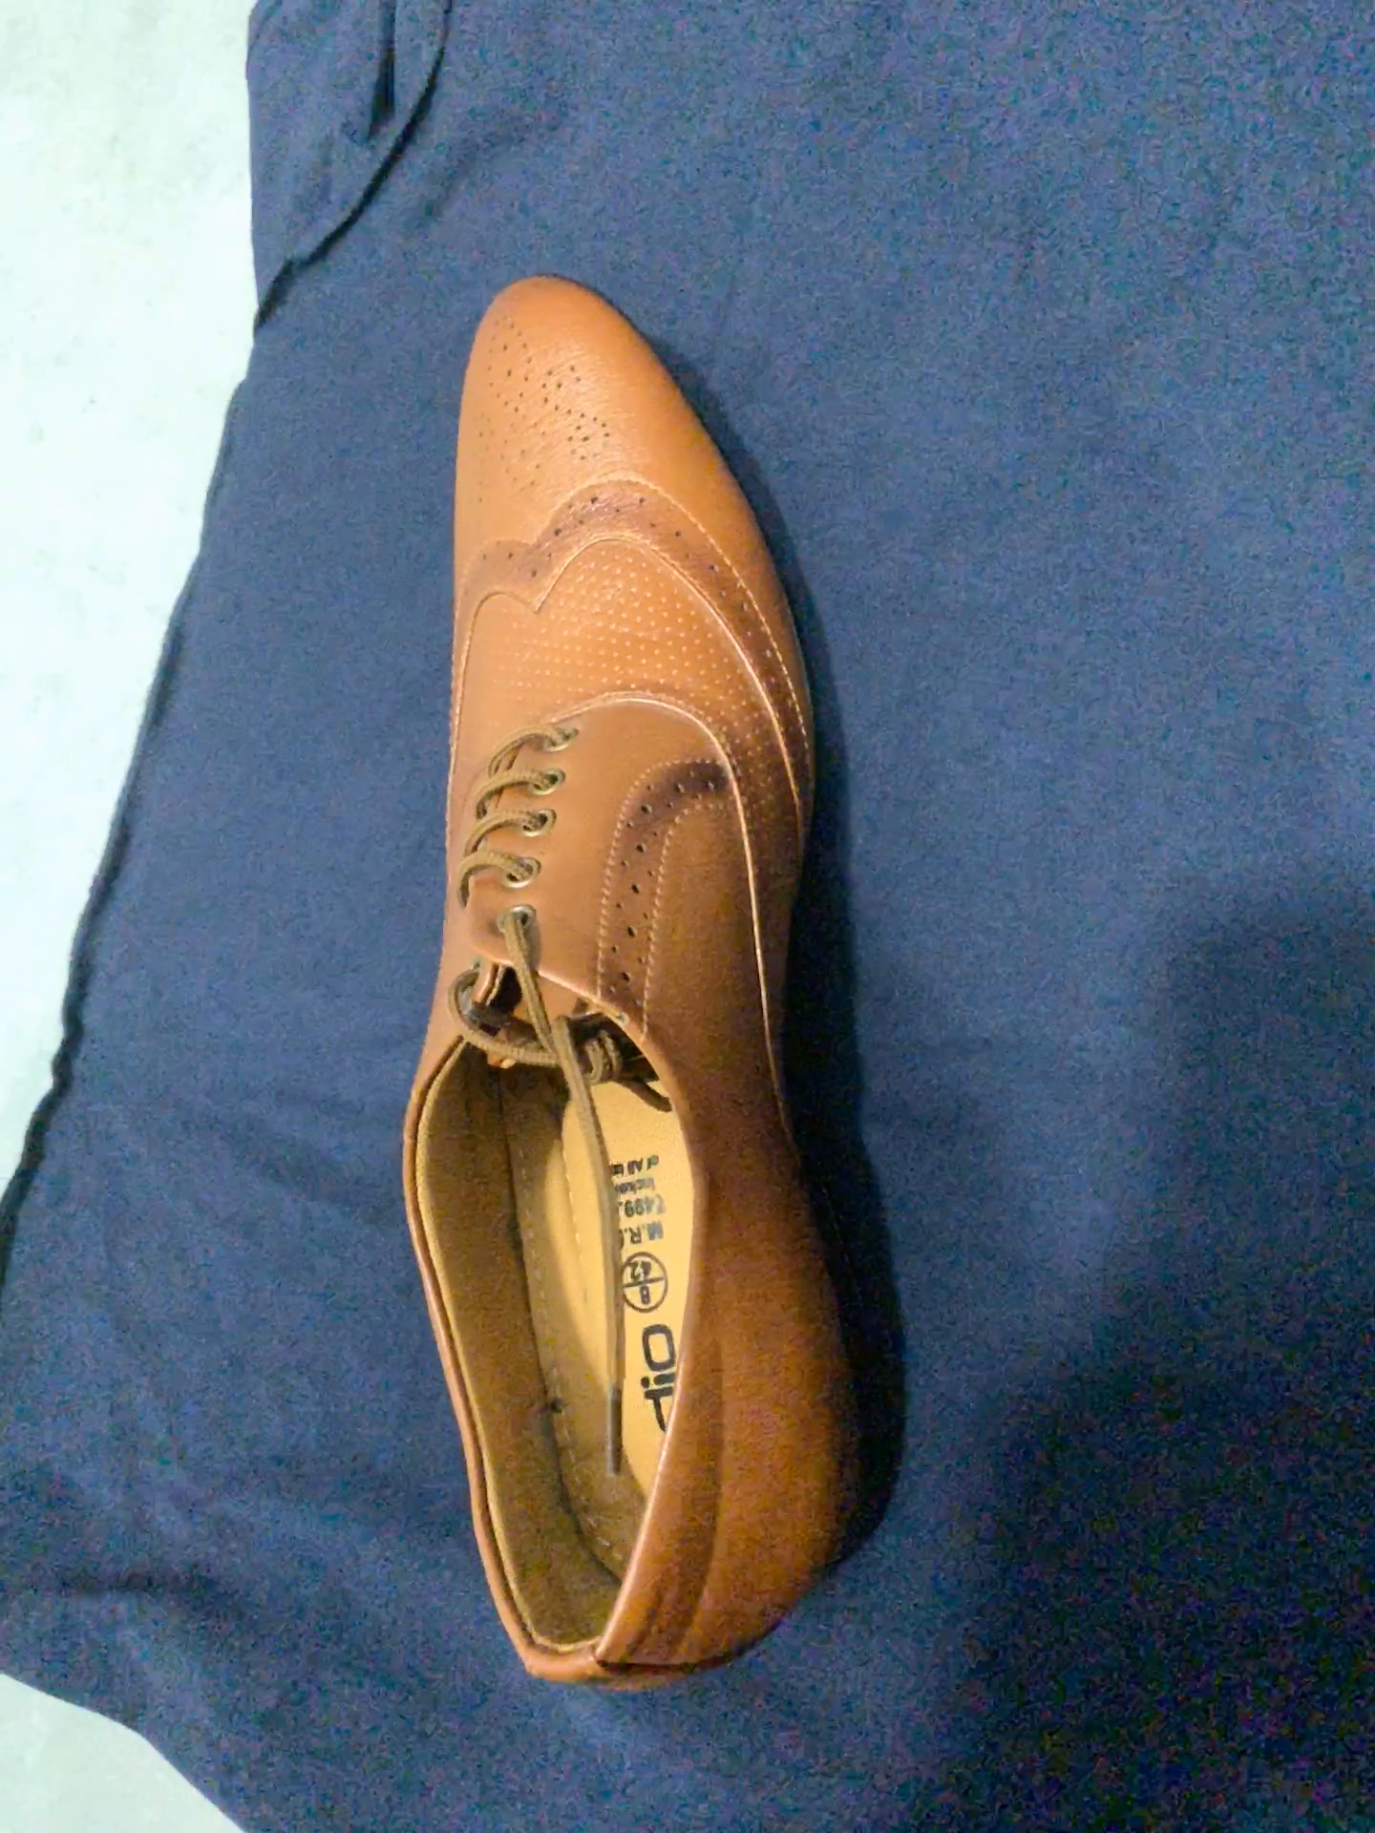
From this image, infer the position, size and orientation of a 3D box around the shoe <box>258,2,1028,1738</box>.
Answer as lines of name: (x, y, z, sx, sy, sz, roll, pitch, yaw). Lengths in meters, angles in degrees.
shoe: (-0.015, -0.013, 0.314, 0.100, 0.090, 0.320, -14, 77, 29)
